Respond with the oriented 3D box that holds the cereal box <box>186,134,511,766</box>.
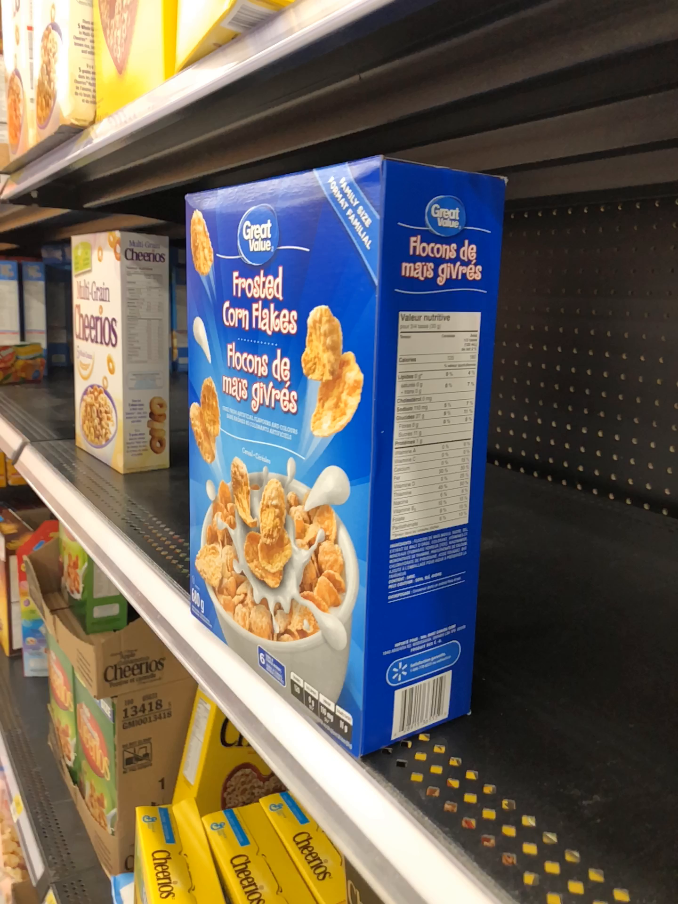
[{"bbox_3d":[-0.013,-0.013,0.465,0.080,0.309,0.211,-6,14,-35],"label":"cereal box"}]
